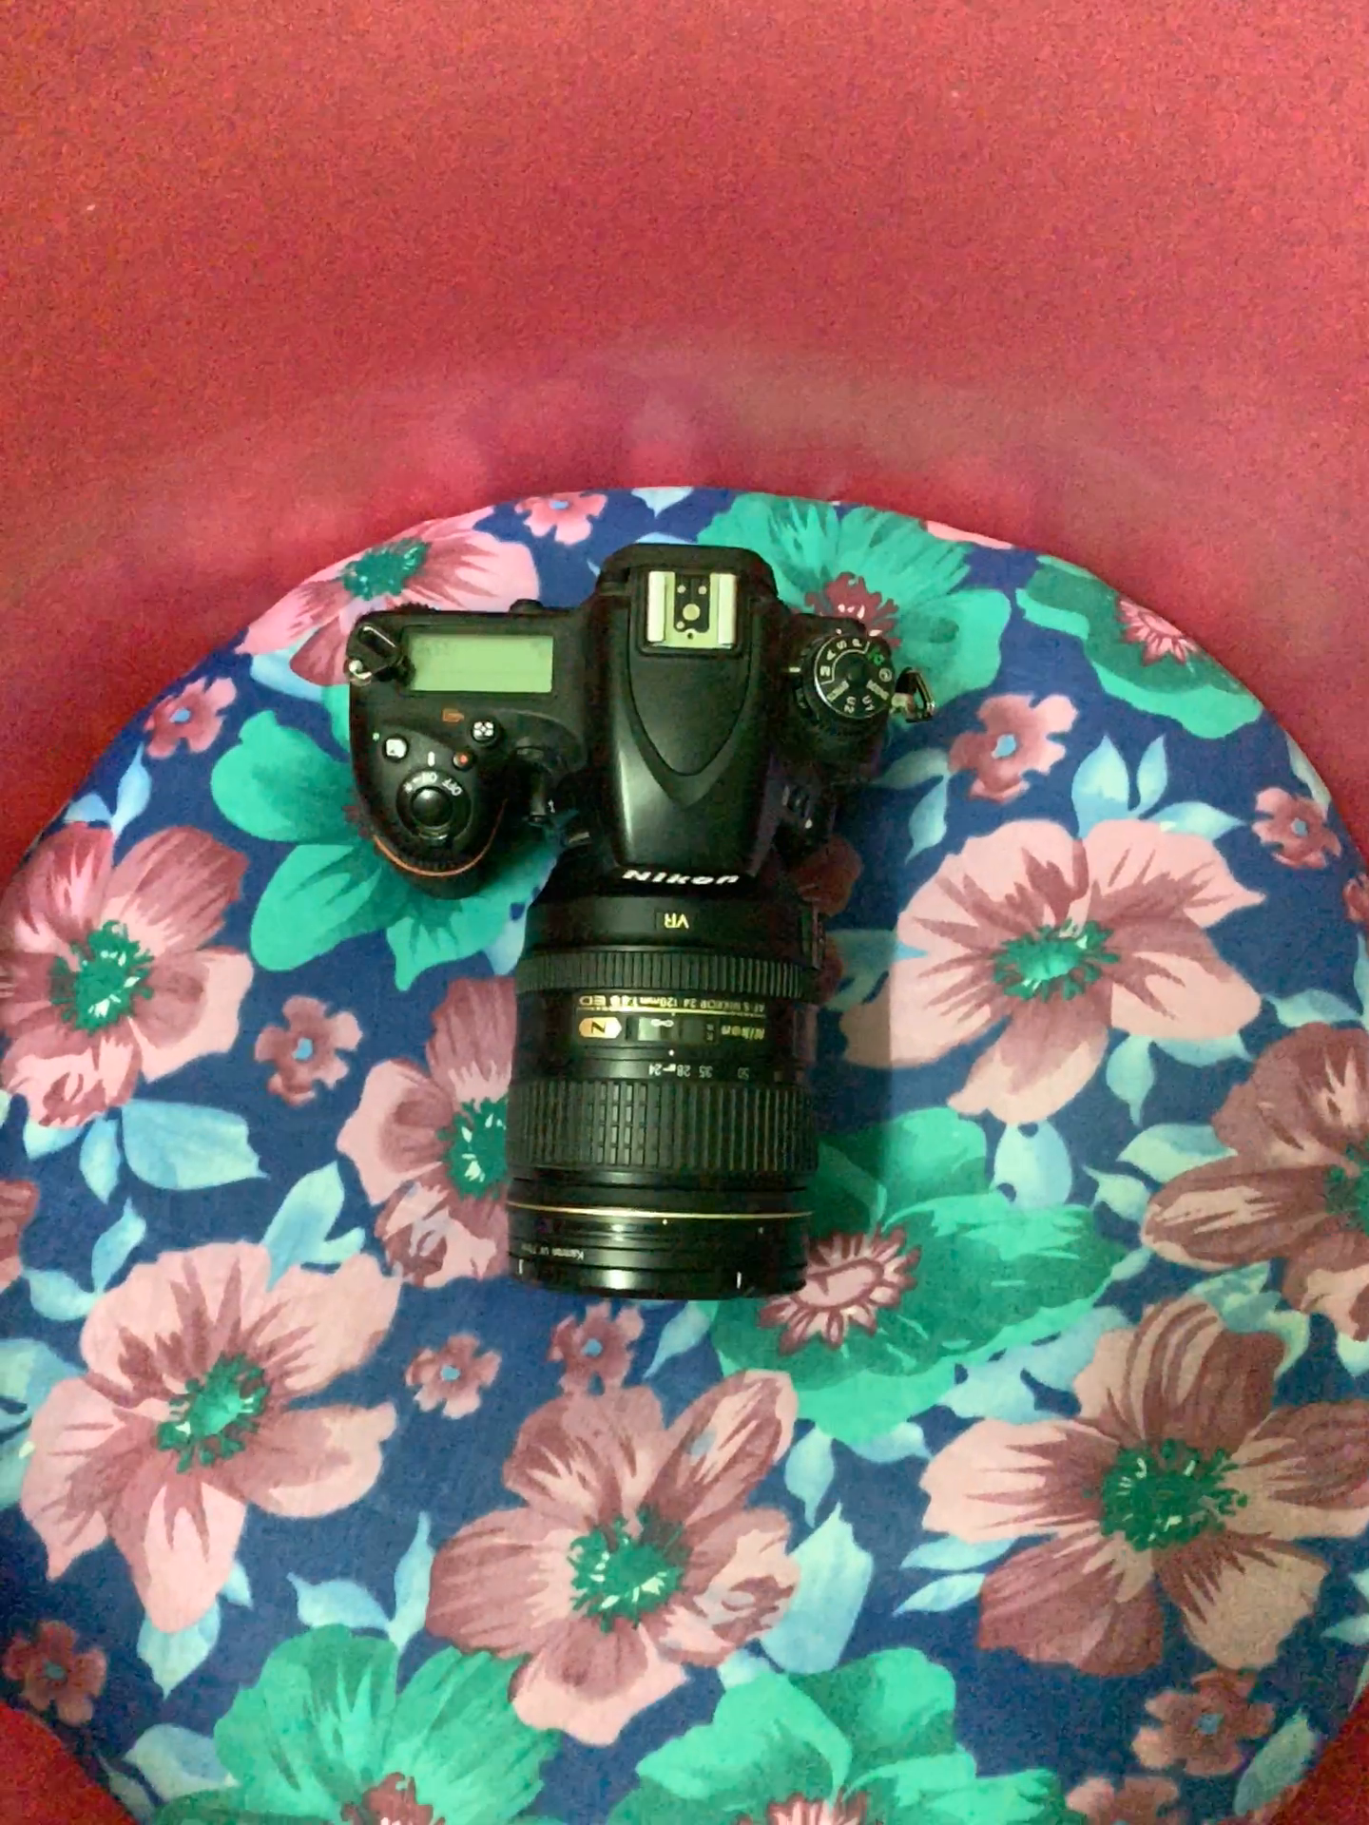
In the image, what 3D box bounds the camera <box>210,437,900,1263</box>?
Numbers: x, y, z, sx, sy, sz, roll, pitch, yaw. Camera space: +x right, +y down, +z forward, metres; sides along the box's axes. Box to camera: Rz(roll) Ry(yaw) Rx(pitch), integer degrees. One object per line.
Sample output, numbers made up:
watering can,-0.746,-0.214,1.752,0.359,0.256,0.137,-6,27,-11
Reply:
camera,-0.023,-0.008,0.358,0.140,0.111,0.179,2,79,1
